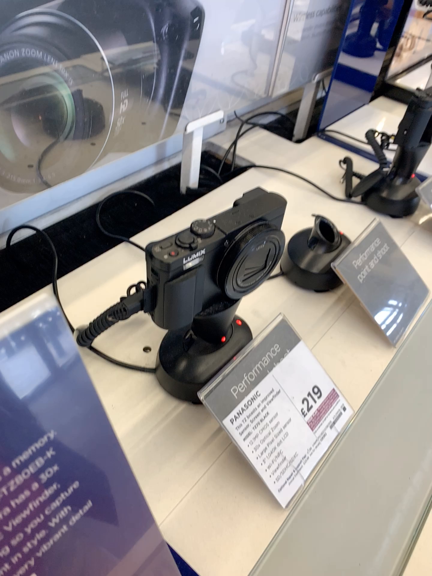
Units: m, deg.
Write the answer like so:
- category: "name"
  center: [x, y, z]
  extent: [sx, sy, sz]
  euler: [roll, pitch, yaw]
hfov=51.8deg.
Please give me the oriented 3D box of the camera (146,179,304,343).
- category: "camera"
  center: [0.006, -0.021, 0.303]
  extent: [0.111, 0.069, 0.030]
  euler: [-30, 56, -33]
